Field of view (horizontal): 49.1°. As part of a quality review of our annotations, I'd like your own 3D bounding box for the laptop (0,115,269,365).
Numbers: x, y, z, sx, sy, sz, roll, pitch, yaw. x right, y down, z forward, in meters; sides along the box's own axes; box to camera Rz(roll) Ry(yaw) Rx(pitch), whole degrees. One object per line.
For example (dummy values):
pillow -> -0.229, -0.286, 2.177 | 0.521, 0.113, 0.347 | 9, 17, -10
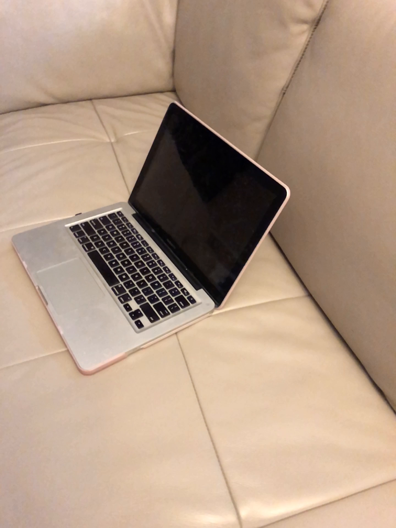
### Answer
laptop -> -0.111, -0.066, 0.673 | 0.306, 0.177, 0.306 | -21, 49, -27
